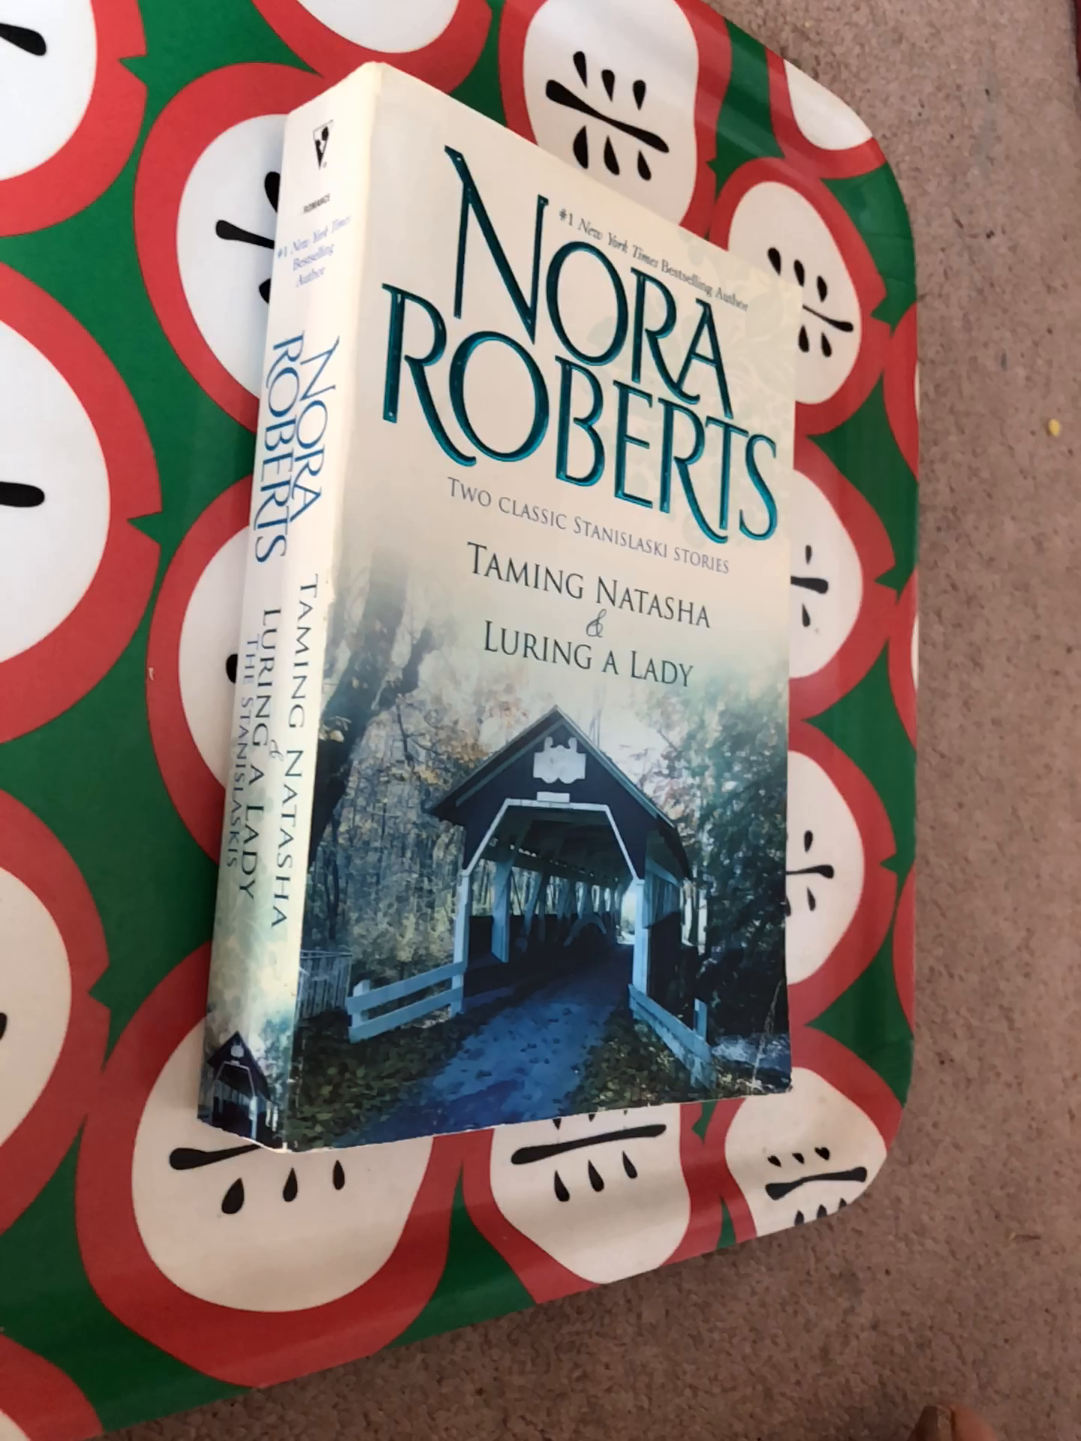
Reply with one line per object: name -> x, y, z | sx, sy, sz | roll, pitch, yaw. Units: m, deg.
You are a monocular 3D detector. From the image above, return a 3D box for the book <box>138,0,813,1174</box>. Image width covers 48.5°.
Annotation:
book -> -0.004, -0.024, 0.274 | 0.140, 0.040, 0.220 | 9, 83, -40
